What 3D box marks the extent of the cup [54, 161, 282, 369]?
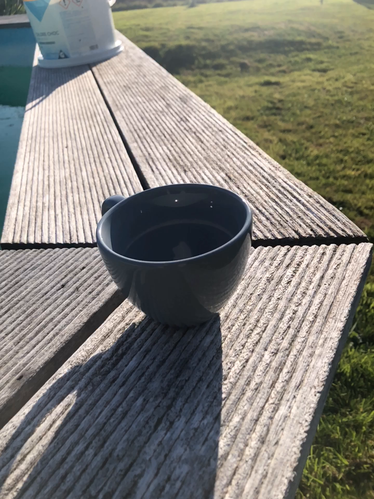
[{"bbox_3d":[-0.014,-0.001,0.251,0.091,0.052,0.105,-24,38,-23],"label":"cup"}]
